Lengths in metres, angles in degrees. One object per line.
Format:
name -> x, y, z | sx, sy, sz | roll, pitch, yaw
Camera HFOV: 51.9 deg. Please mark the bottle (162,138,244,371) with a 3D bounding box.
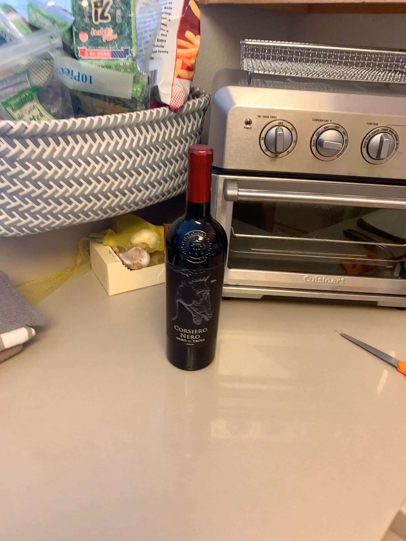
bottle -> -0.007, -0.009, 0.506 | 0.080, 0.278, 0.070 | 2, 29, -3
